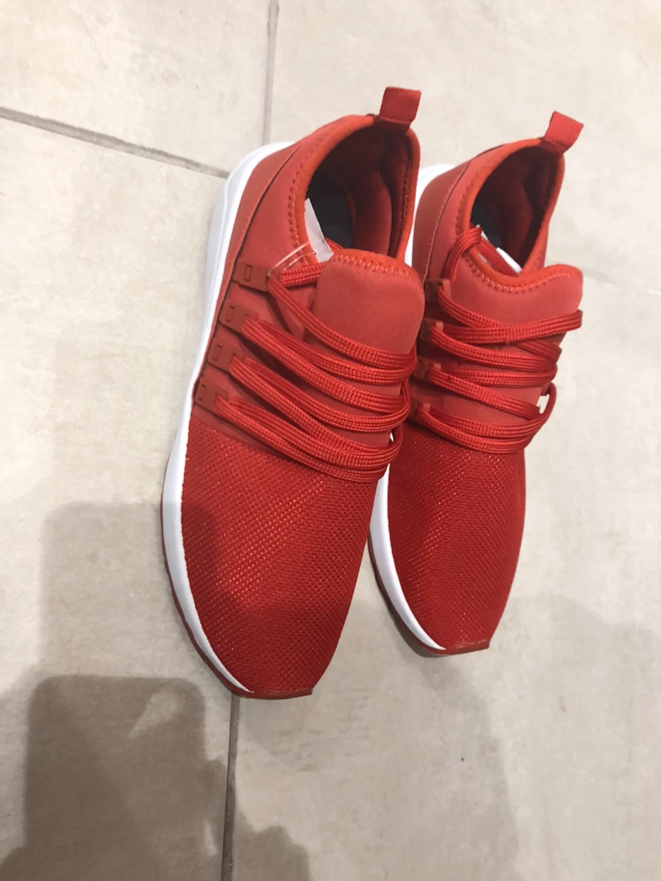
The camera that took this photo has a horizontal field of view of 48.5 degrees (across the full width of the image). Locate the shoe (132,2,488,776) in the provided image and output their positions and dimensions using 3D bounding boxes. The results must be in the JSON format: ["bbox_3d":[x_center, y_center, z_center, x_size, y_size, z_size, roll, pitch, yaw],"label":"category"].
[{"bbox_3d":[-0.014,-0.015,0.335,0.100,0.139,0.270,7,81,-27],"label":"shoe"}]

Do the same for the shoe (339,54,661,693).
[{"bbox_3d":[0.085,-0.025,0.390,0.100,0.139,0.270,2,83,-27],"label":"shoe"}]
